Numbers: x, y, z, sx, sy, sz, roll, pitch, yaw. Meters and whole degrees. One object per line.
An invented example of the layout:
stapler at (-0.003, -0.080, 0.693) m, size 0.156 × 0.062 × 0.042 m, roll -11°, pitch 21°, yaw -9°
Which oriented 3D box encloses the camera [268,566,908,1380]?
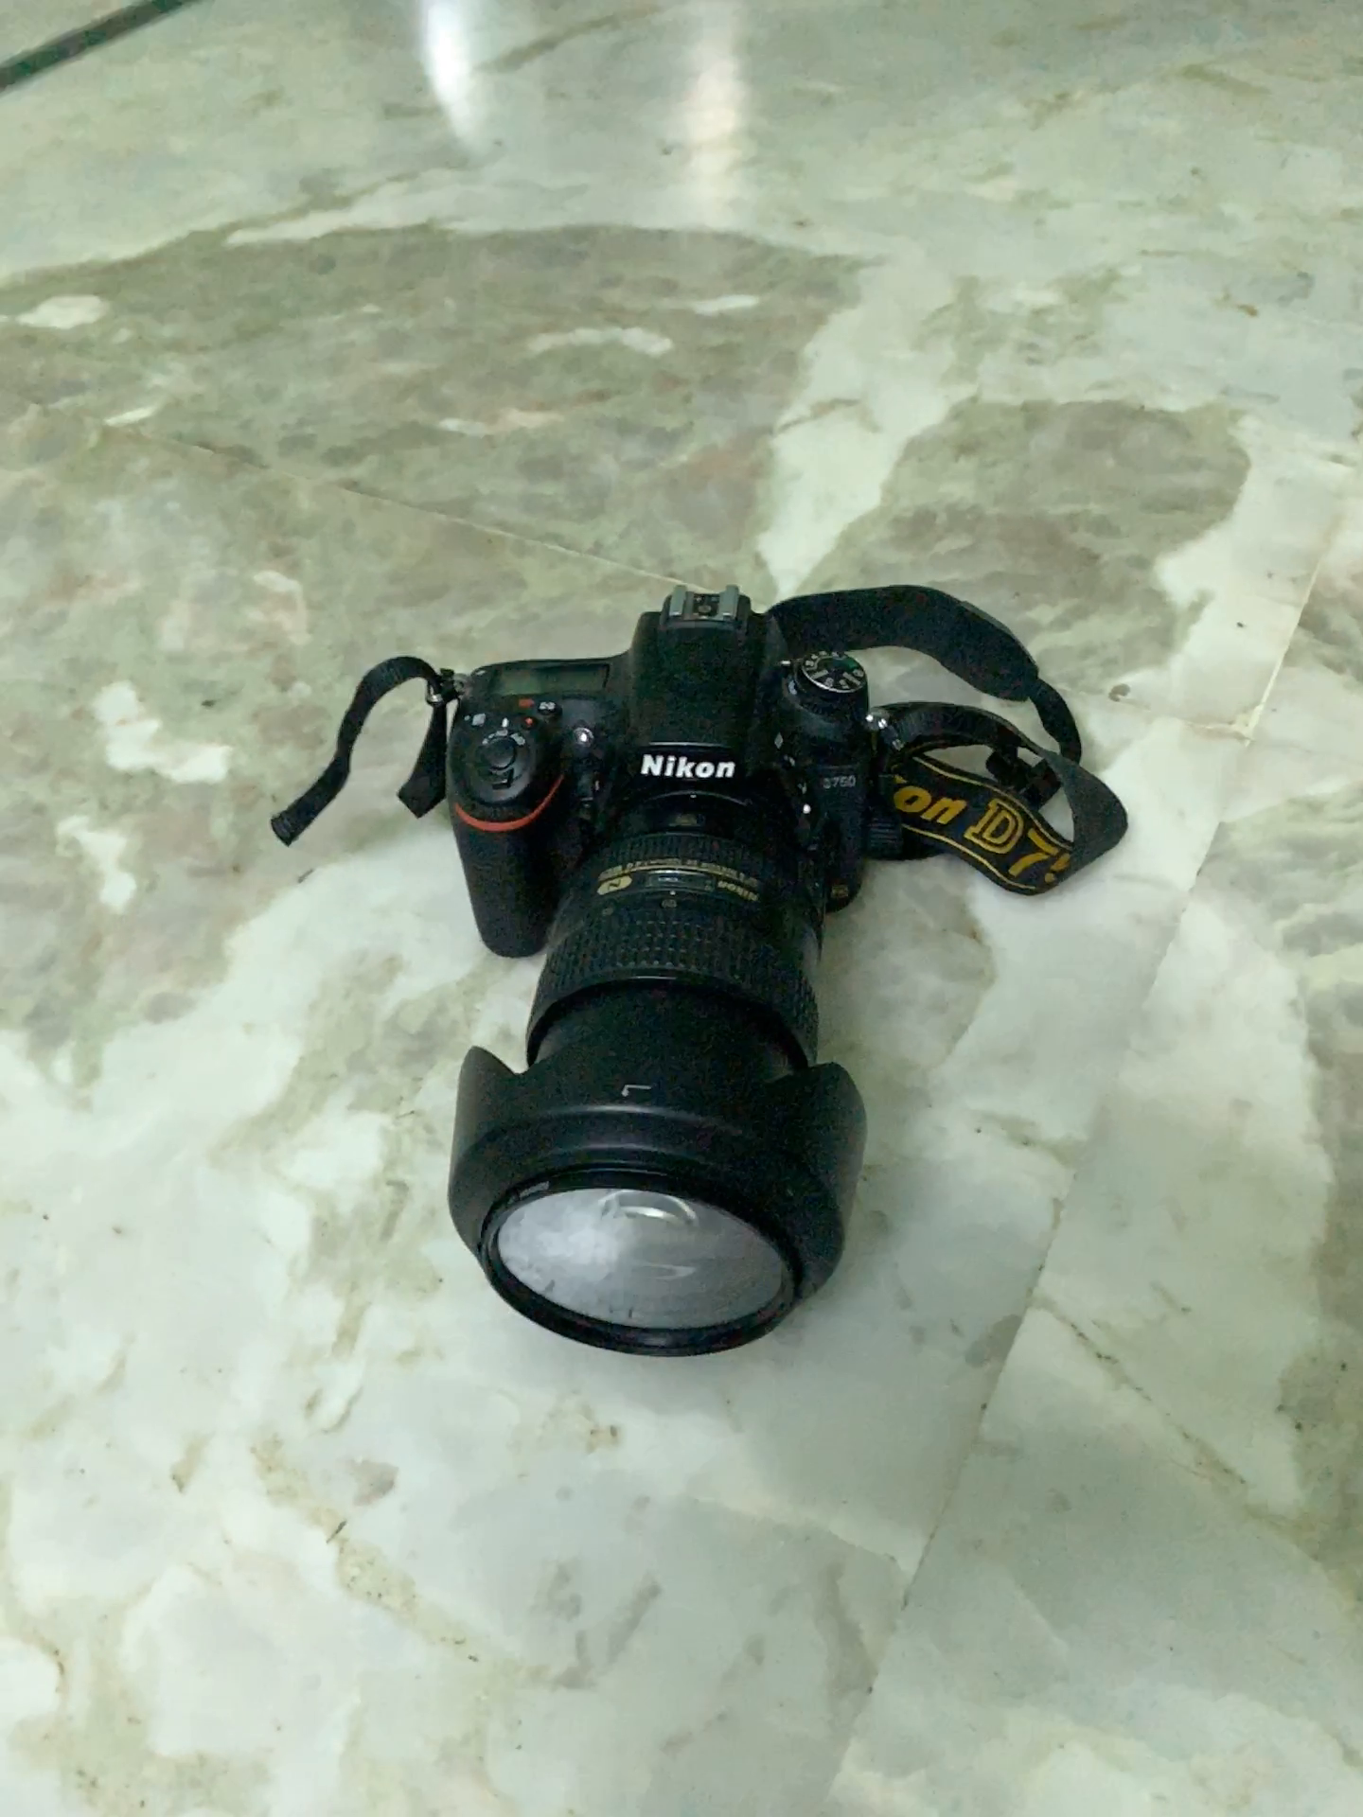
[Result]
camera at (-0.011, 0.006, 0.384) m, size 0.130 × 0.090 × 0.211 m, roll 1°, pitch 49°, yaw 5°
